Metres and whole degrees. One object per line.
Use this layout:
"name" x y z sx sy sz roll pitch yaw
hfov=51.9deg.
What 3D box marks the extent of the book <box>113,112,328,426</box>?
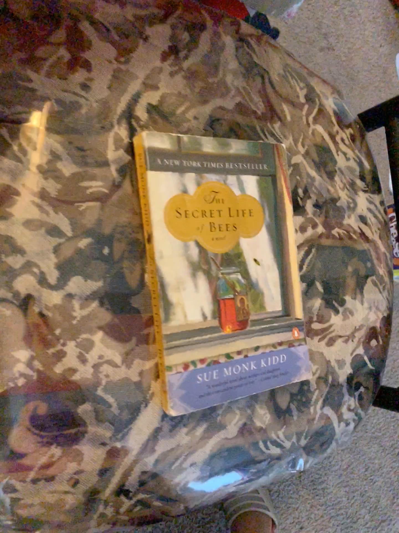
"book" 0.018 -0.005 0.321 0.140 0.040 0.210 -6 86 -26
